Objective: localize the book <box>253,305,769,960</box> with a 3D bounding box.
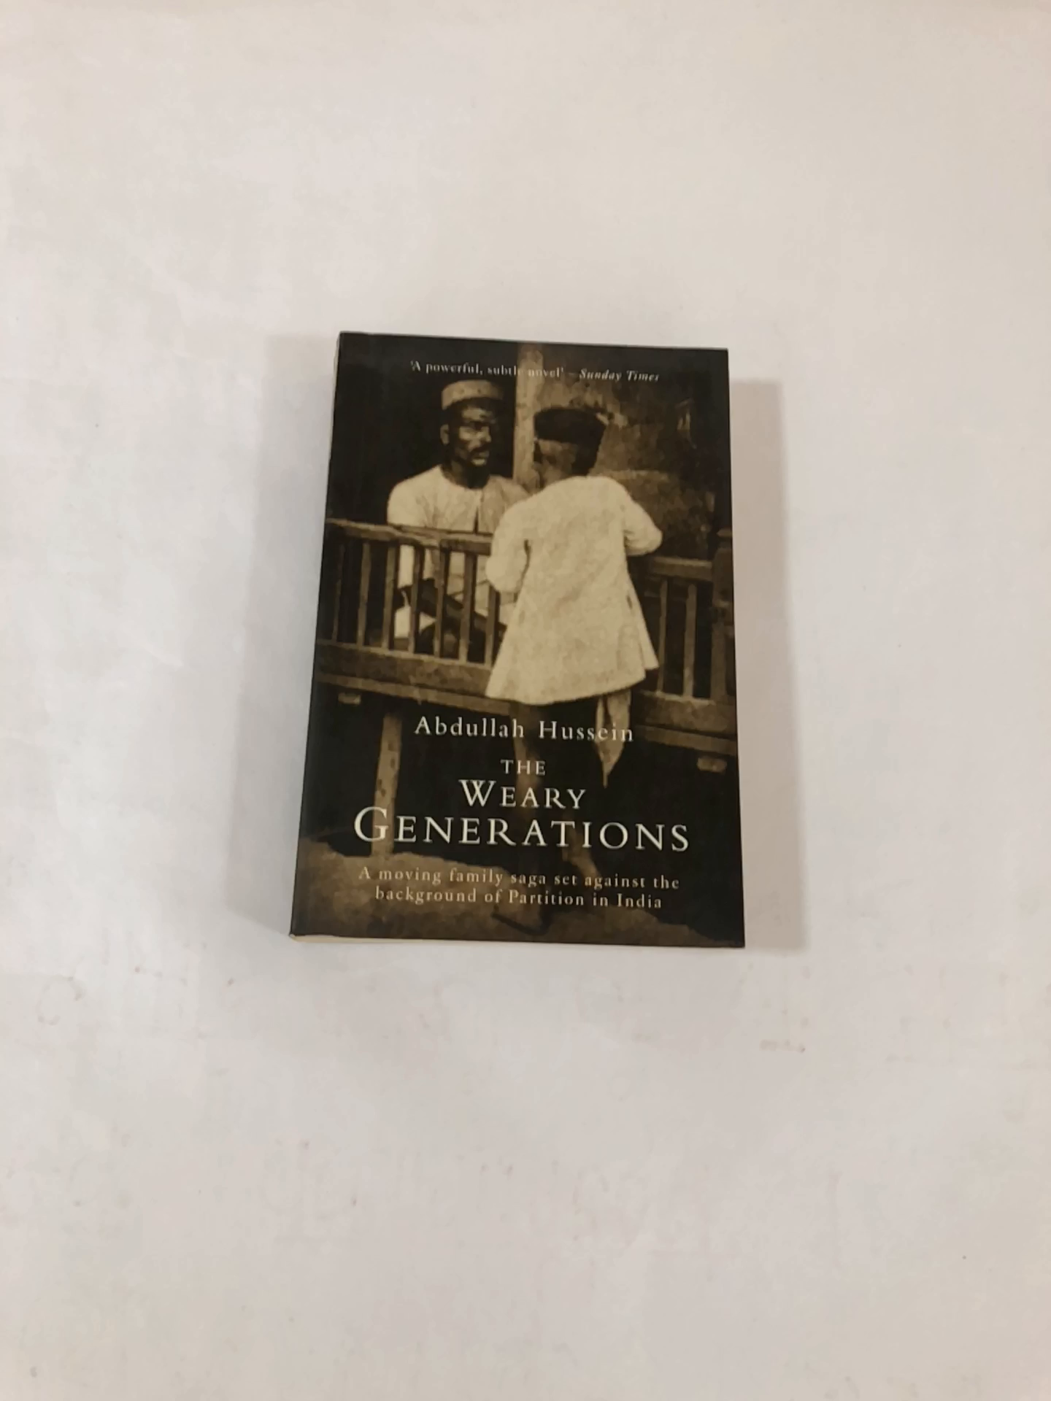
[{"bbox_3d":[-0.001,-0.025,0.362,0.140,0.030,0.200,2,72,-1],"label":"book"}]
